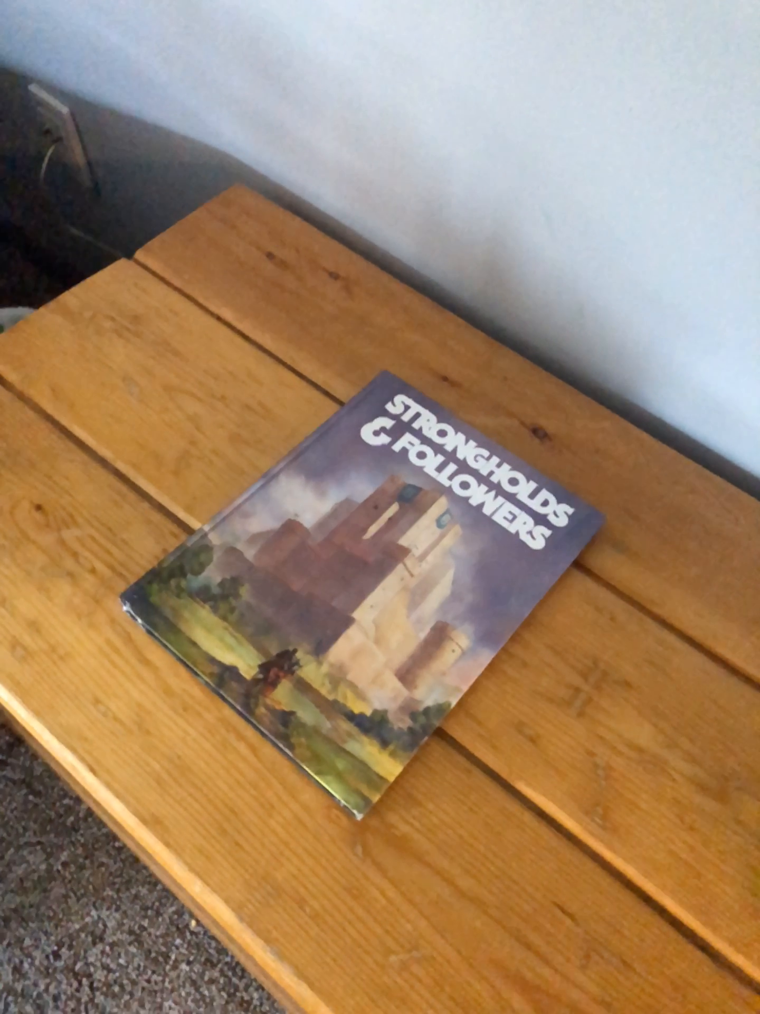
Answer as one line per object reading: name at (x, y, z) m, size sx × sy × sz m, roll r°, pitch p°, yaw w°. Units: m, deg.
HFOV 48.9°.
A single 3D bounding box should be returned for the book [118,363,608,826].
book at (-0.005, 0.042, 0.605) m, size 0.213 × 0.042 × 0.281 m, roll 36°, pitch 63°, yaw 18°
